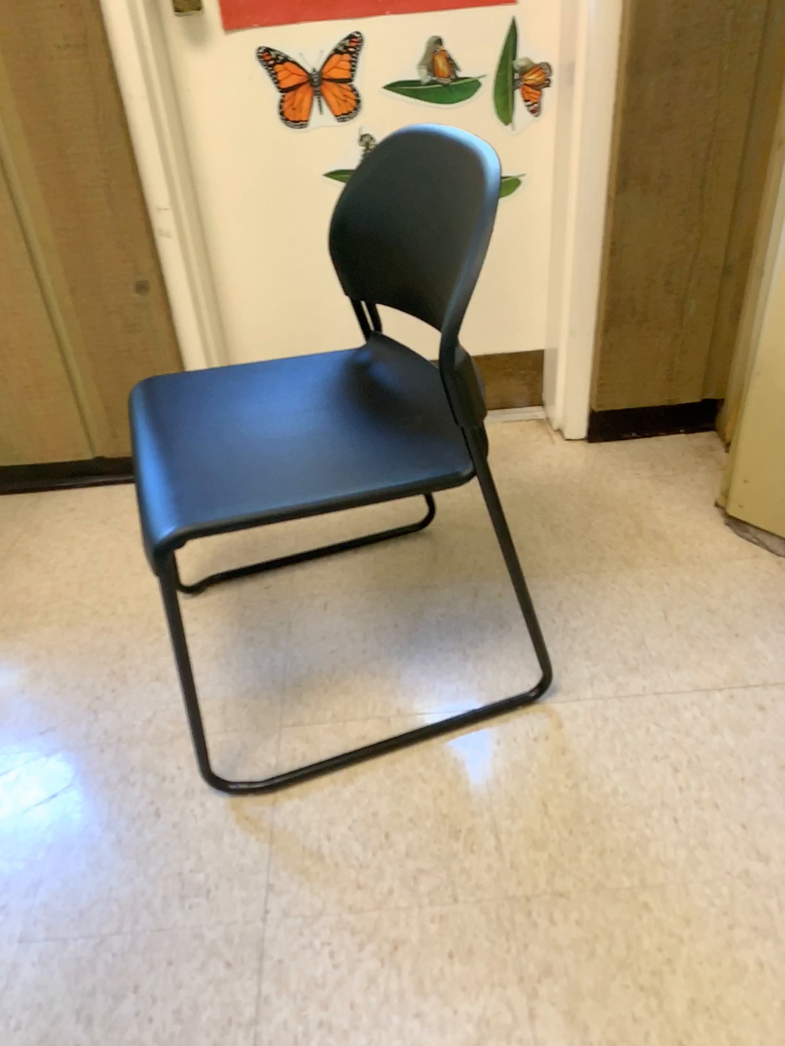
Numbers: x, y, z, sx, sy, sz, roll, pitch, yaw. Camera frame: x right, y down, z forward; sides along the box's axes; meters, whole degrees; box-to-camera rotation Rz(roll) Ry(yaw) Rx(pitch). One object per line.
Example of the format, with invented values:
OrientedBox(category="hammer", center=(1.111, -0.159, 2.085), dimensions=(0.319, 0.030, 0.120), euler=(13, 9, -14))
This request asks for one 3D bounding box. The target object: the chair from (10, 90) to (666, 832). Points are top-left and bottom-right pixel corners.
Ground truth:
OrientedBox(category="chair", center=(-0.090, -0.130, 1.169), dimensions=(0.620, 0.795, 0.584), euler=(-15, 36, -14))
